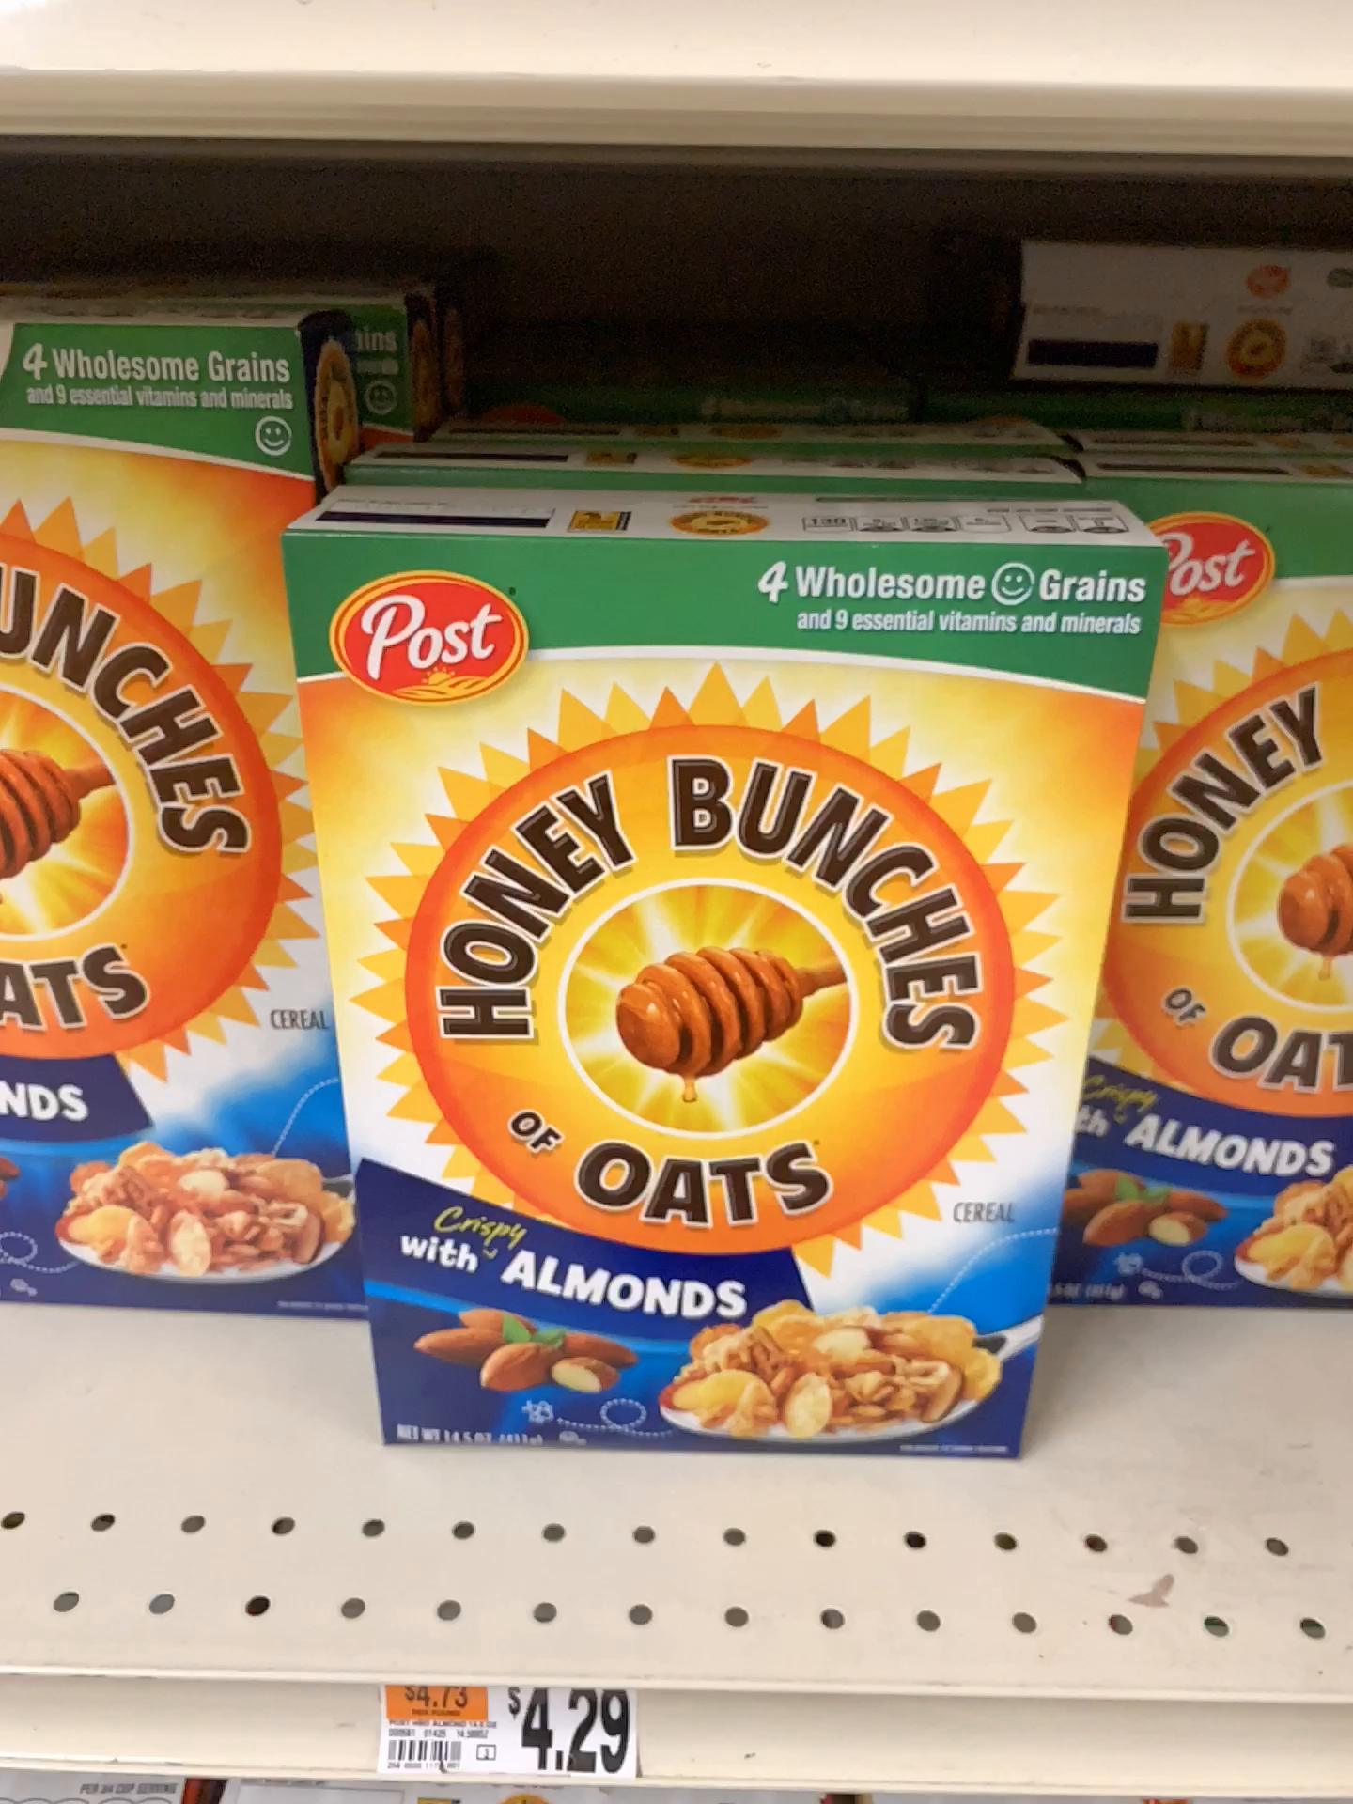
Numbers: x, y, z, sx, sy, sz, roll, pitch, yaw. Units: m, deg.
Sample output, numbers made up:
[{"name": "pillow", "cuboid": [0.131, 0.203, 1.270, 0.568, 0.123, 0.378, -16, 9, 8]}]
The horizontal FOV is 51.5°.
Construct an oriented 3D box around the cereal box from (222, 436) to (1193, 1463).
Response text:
[{"name": "cereal box", "cuboid": [0.005, 0.026, 0.379, 0.200, 0.278, 0.060, 1, 27, 1]}]
